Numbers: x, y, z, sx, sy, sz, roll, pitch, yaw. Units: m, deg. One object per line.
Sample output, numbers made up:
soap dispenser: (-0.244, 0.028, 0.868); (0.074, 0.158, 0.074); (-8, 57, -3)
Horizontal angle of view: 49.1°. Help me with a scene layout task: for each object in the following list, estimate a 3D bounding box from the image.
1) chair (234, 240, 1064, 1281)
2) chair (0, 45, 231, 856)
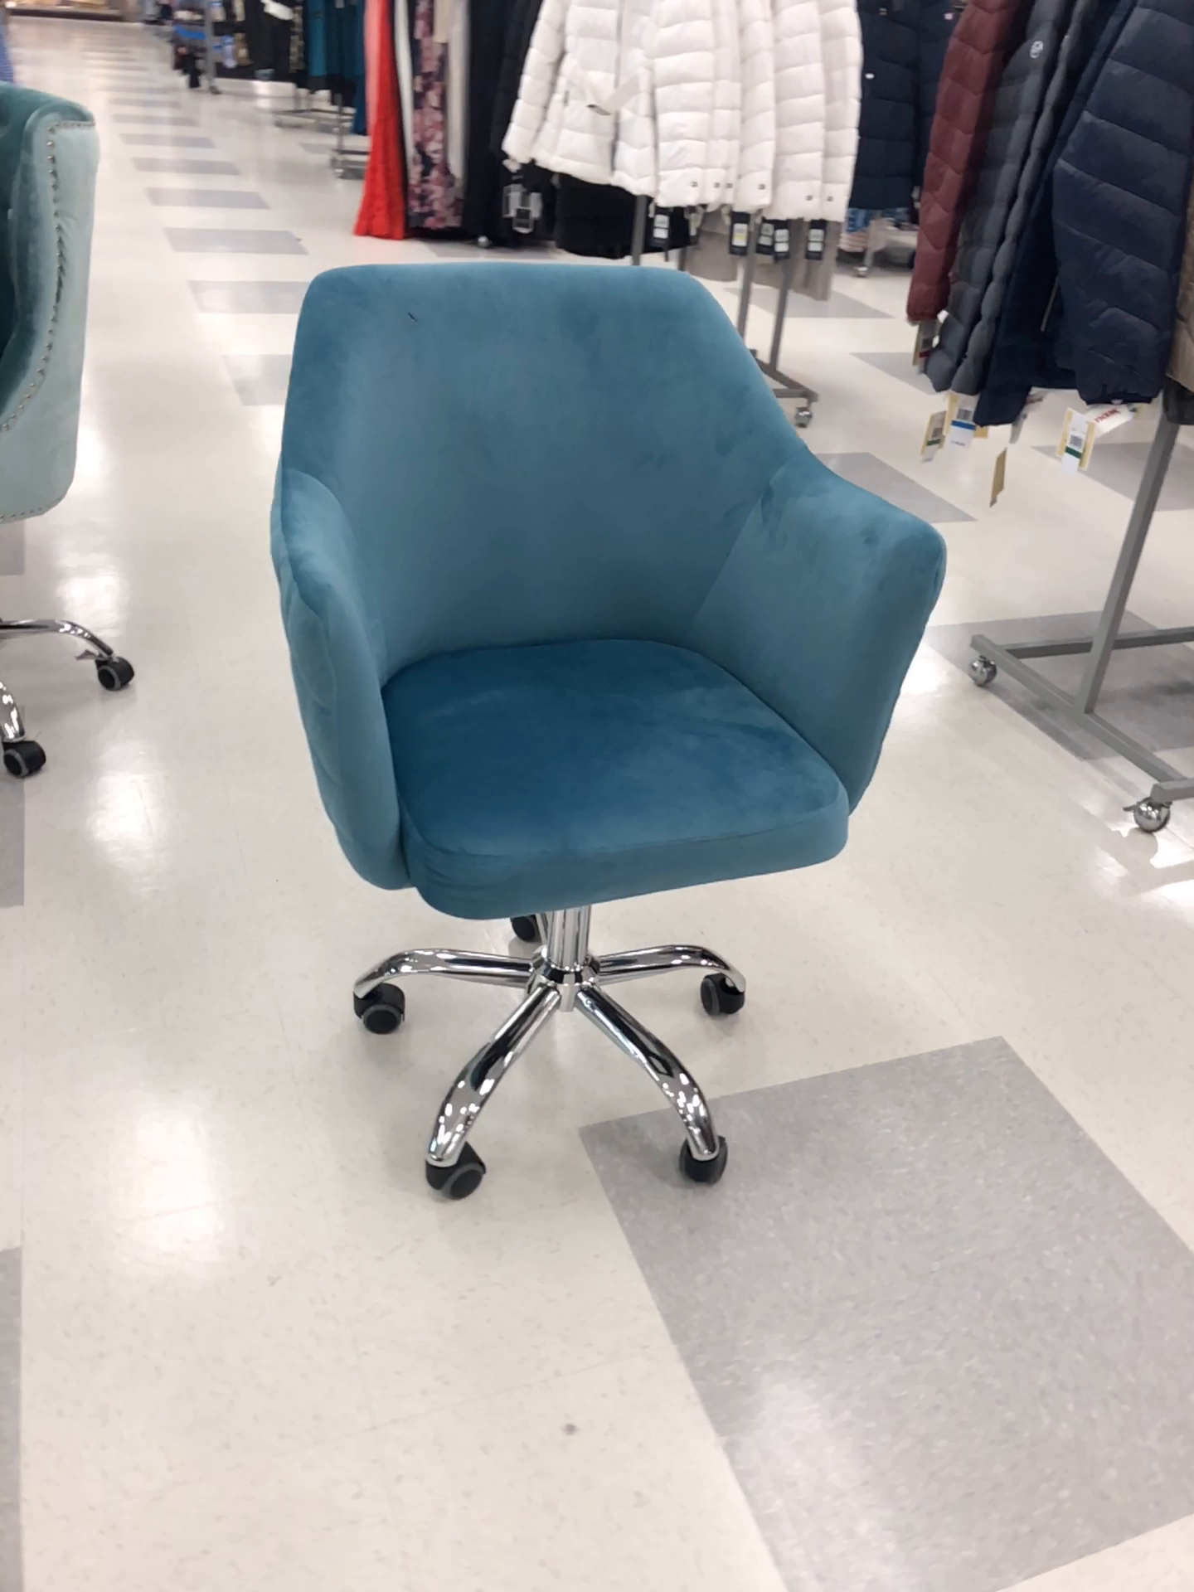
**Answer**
chair: (-0.028, -0.067, 1.413); (0.595, 0.887, 0.564); (-6, 33, -19)
chair: (-1.100, -0.585, 2.063); (0.736, 0.967, 0.655); (29, 38, 34)
